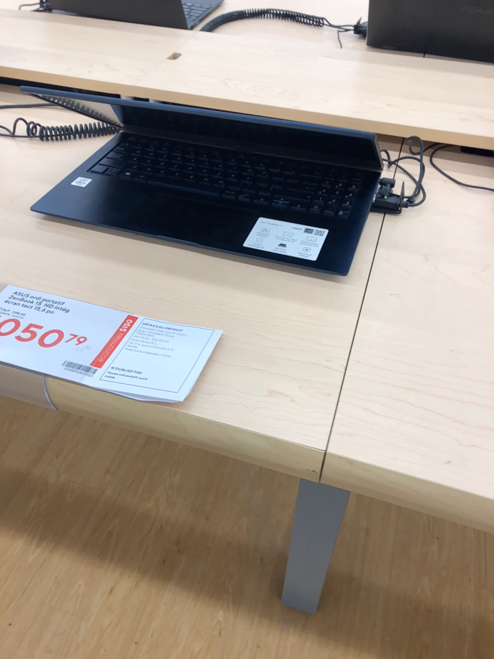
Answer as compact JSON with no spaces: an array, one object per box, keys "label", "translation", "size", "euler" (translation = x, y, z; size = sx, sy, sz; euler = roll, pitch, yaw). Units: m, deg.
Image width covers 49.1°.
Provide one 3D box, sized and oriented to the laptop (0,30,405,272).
[{"label":"laptop","translation":[-0.037,-0.202,0.570],"size":[0.346,0.119,0.204],"euler":[14,46,13]}]
